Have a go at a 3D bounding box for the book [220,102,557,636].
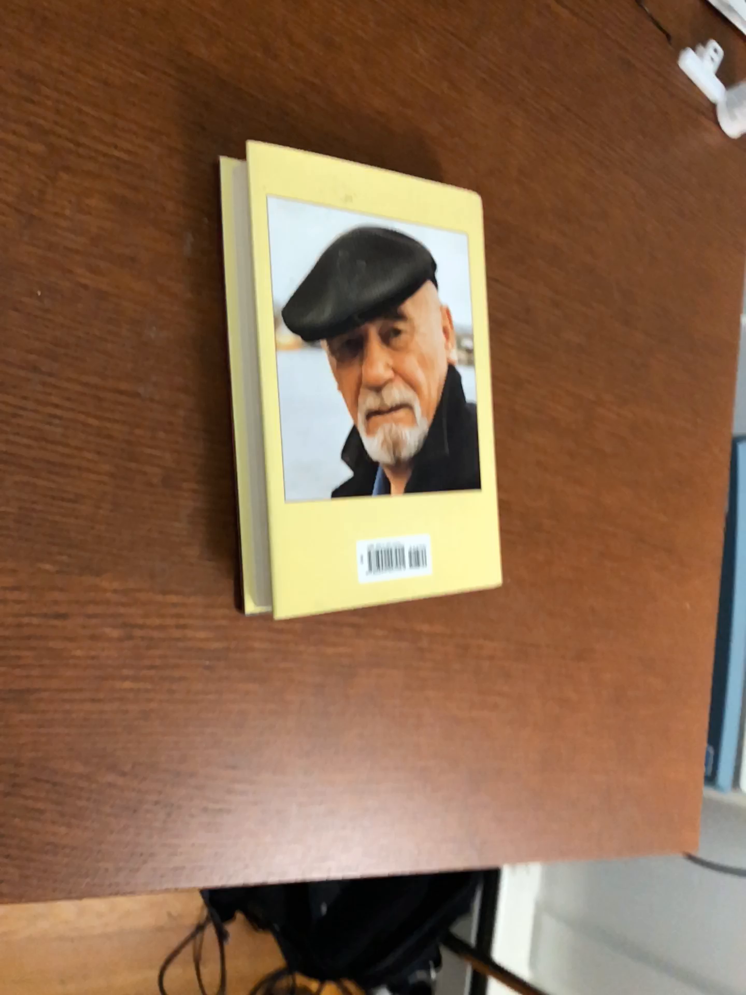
[{"bbox_3d":[0.017,-0.064,0.454,0.191,0.030,0.250,-3,89,-36],"label":"book"}]
